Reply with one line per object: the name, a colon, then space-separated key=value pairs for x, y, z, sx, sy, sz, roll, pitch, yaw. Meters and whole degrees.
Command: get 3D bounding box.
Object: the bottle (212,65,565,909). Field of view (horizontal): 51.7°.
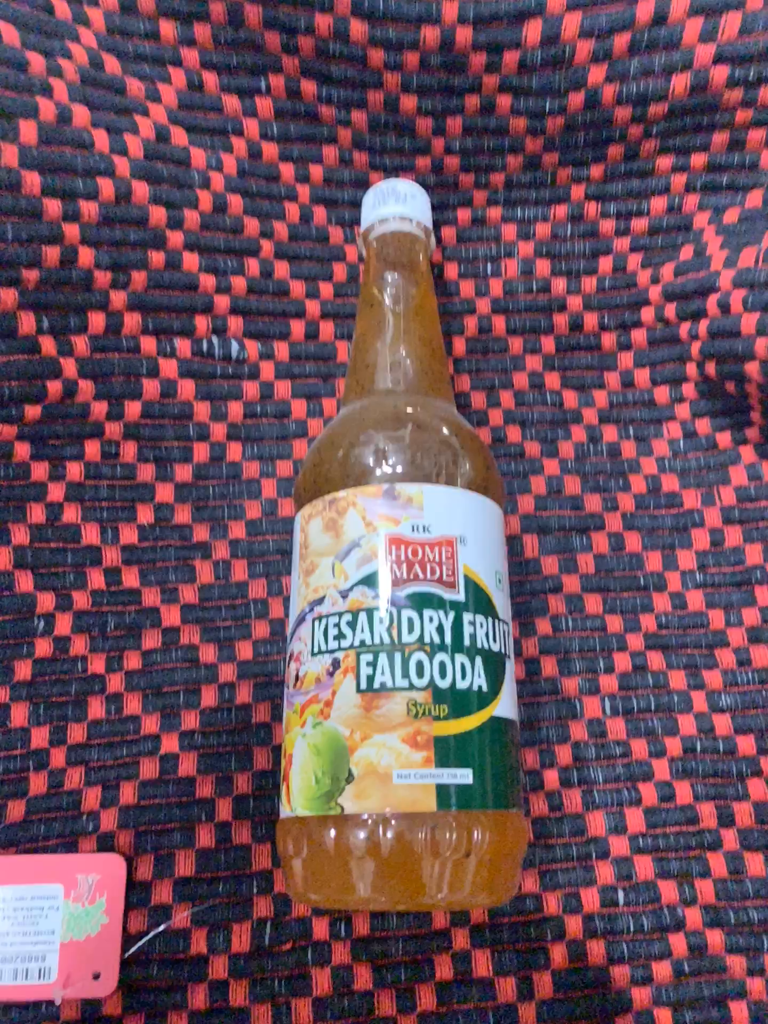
bottle: x=-0.002 y=-0.019 z=0.260 sx=0.080 sy=0.070 sz=0.260 roll=1 pitch=69 yaw=-3
